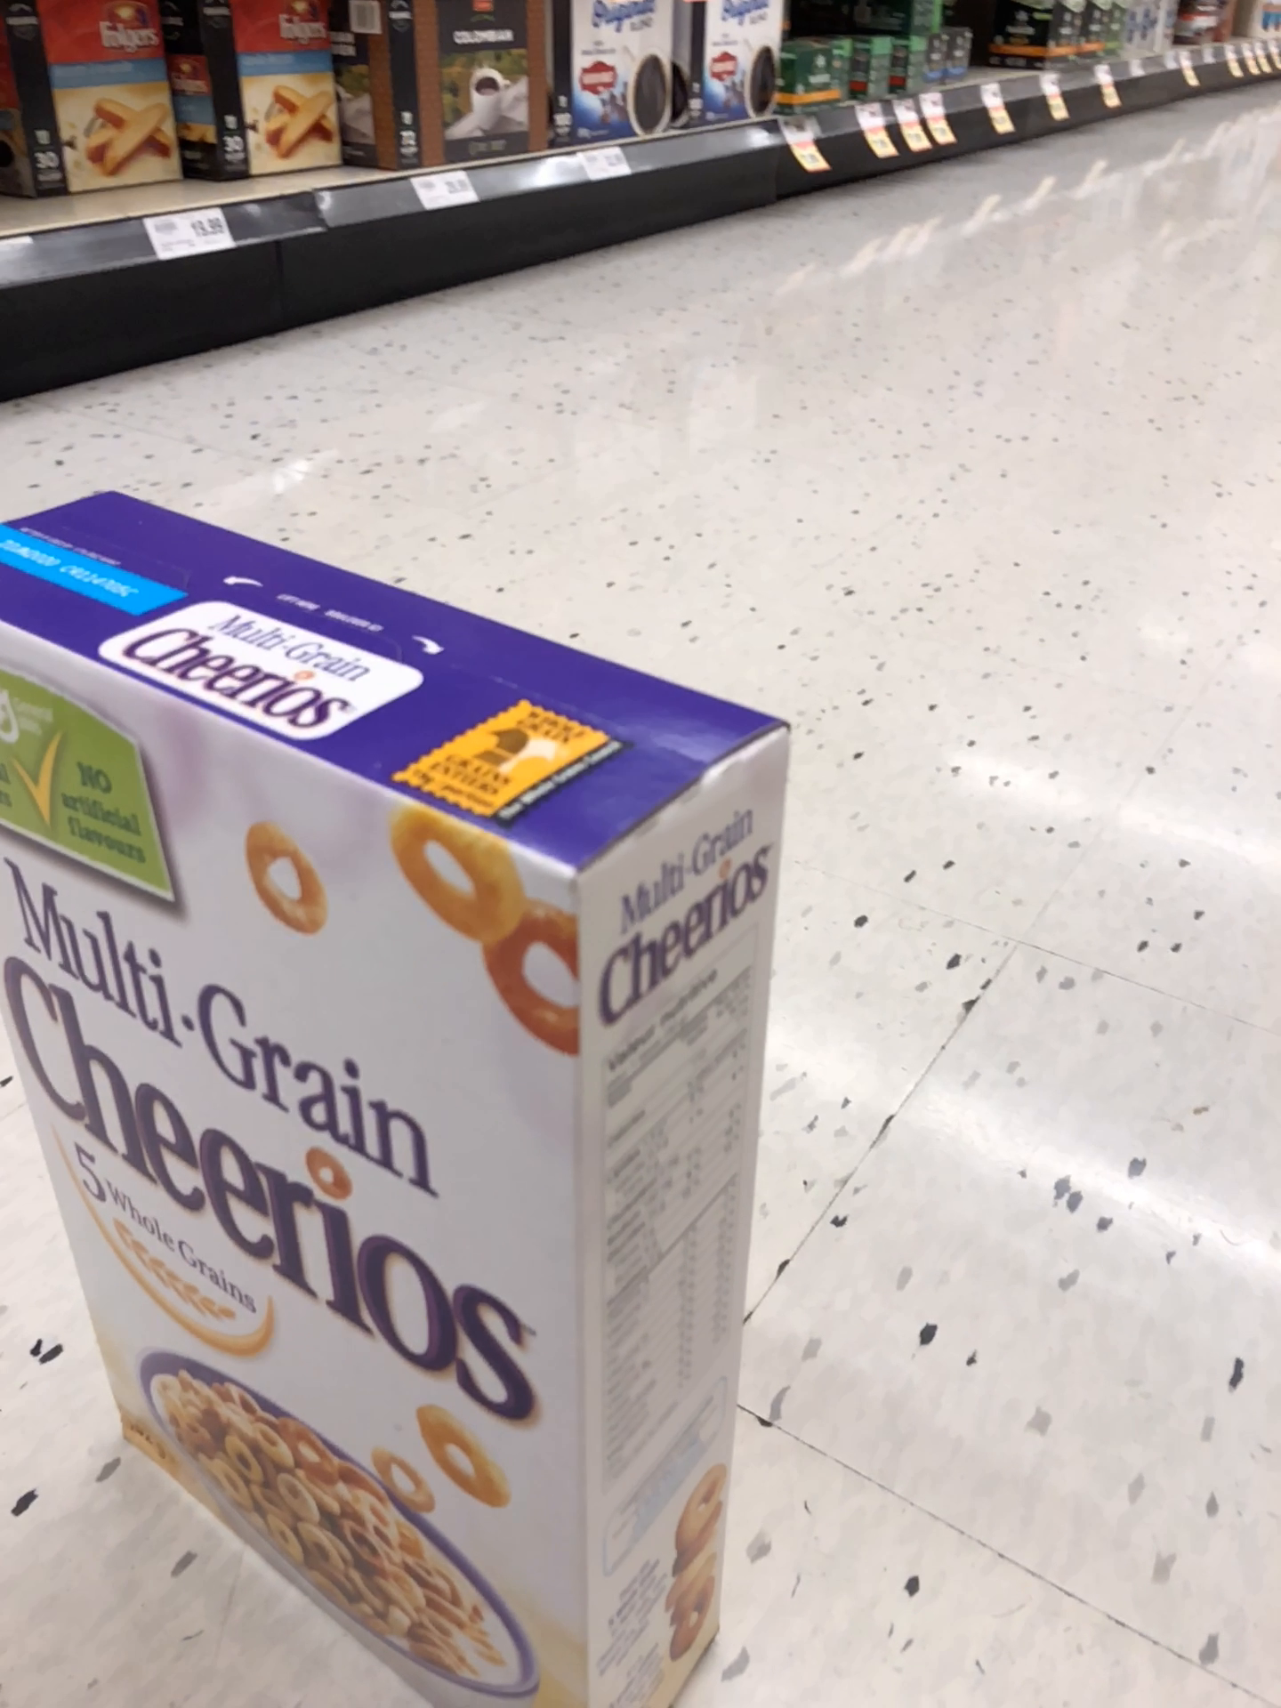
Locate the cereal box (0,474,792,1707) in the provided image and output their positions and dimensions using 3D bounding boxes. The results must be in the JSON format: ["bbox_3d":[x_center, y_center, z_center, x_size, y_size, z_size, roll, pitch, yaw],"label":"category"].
[{"bbox_3d":[-0.072,0.086,0.346,0.190,0.308,0.060,22,38,29],"label":"cereal box"}]
